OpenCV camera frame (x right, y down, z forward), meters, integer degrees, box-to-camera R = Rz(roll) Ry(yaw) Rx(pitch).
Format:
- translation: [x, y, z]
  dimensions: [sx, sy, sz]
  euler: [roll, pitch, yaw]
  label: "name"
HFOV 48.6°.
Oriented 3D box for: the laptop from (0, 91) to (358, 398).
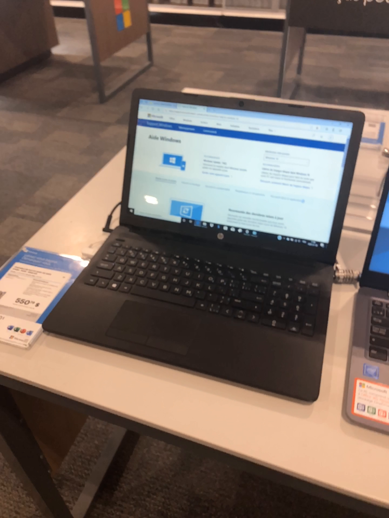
- translation: [0.014, -0.062, 0.603]
  dimensions: [0.356, 0.195, 0.360]
  euler: [11, 42, 15]
  label: "laptop"
